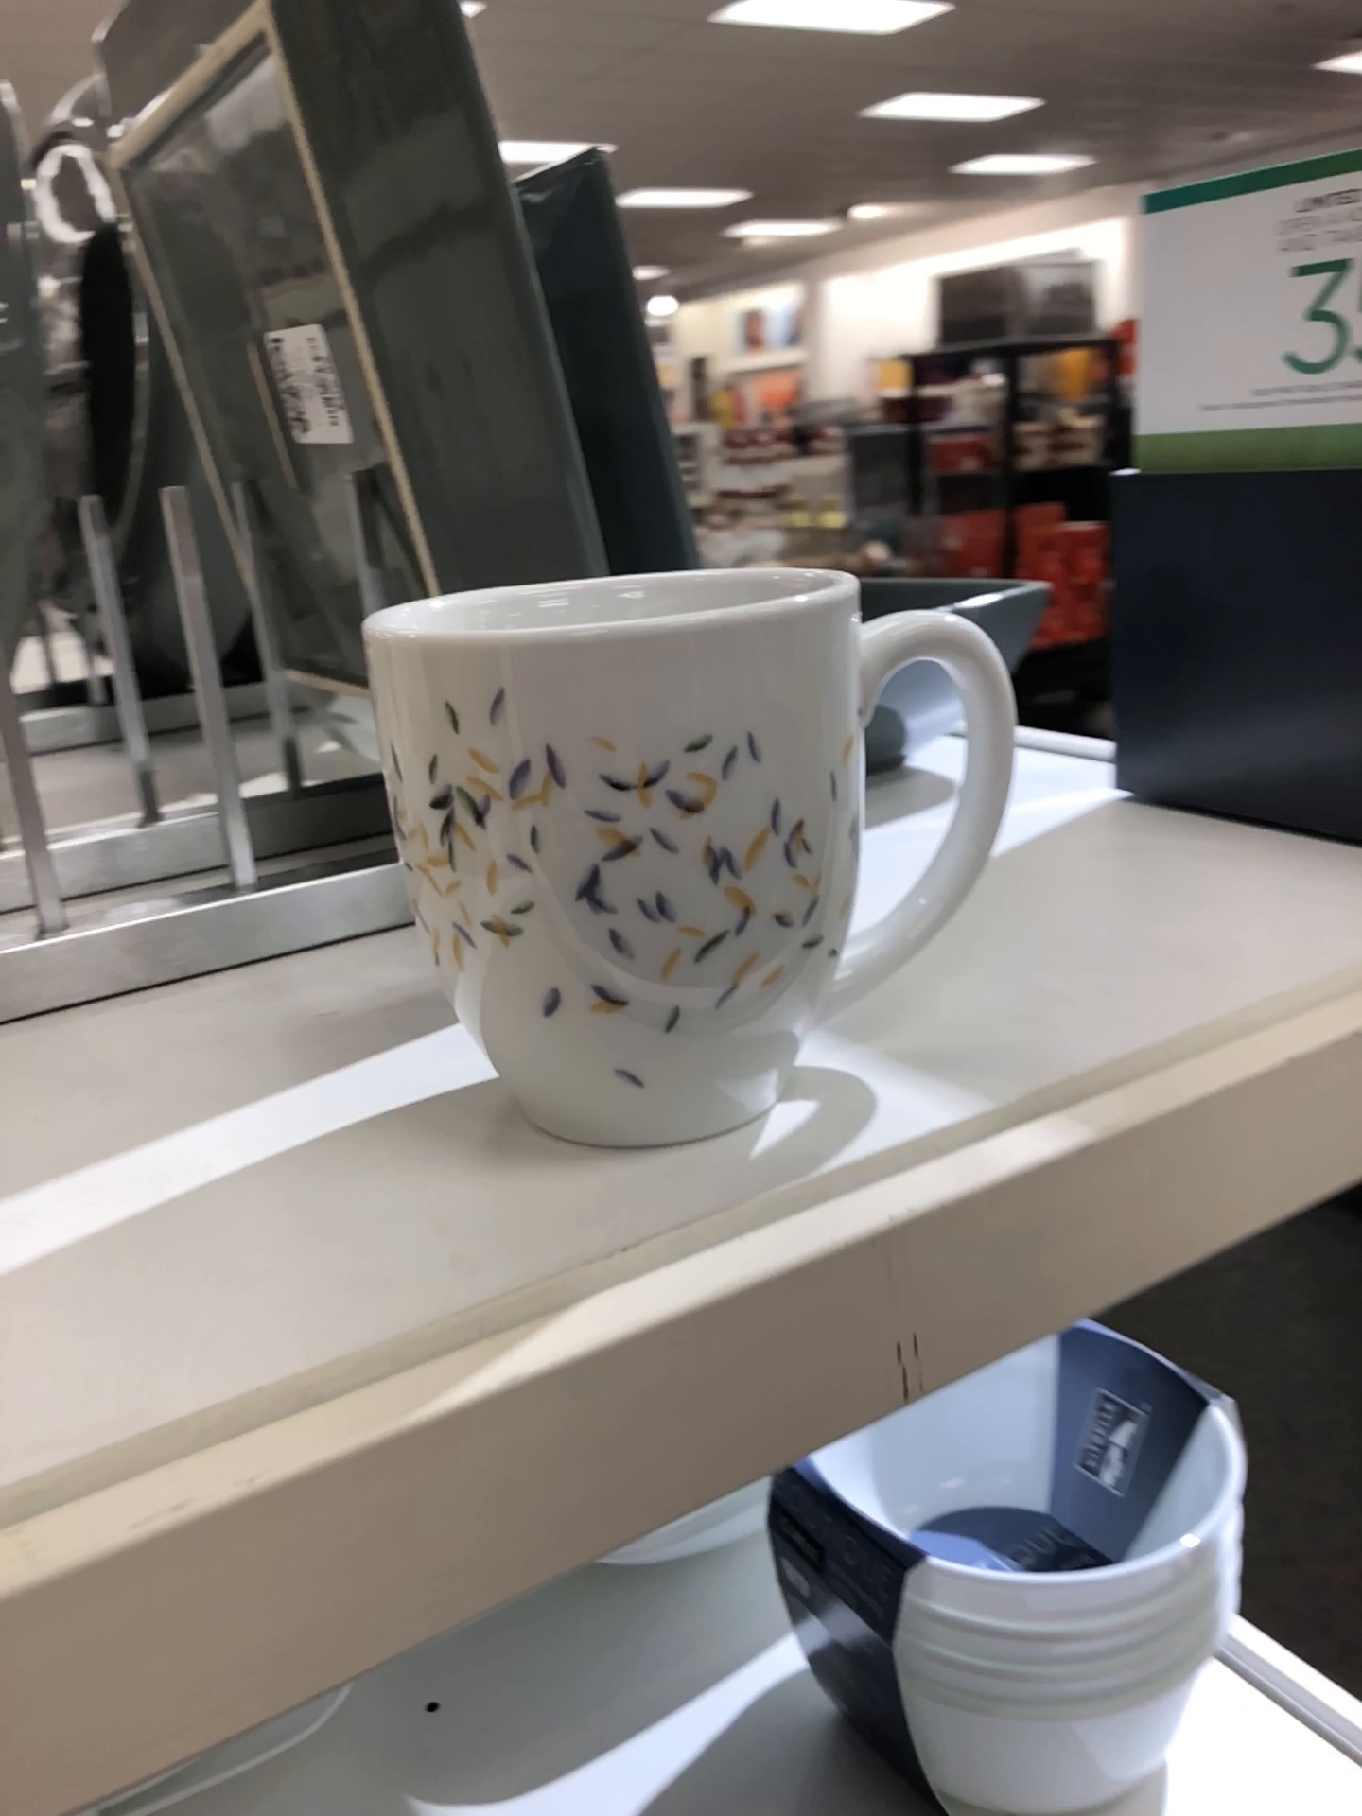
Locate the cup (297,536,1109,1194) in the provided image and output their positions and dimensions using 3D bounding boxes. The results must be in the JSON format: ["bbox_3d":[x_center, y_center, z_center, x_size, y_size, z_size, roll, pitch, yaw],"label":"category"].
[{"bbox_3d":[0.002,-0.019,0.300,0.127,0.091,0.093,-11,18,-20],"label":"cup"}]
